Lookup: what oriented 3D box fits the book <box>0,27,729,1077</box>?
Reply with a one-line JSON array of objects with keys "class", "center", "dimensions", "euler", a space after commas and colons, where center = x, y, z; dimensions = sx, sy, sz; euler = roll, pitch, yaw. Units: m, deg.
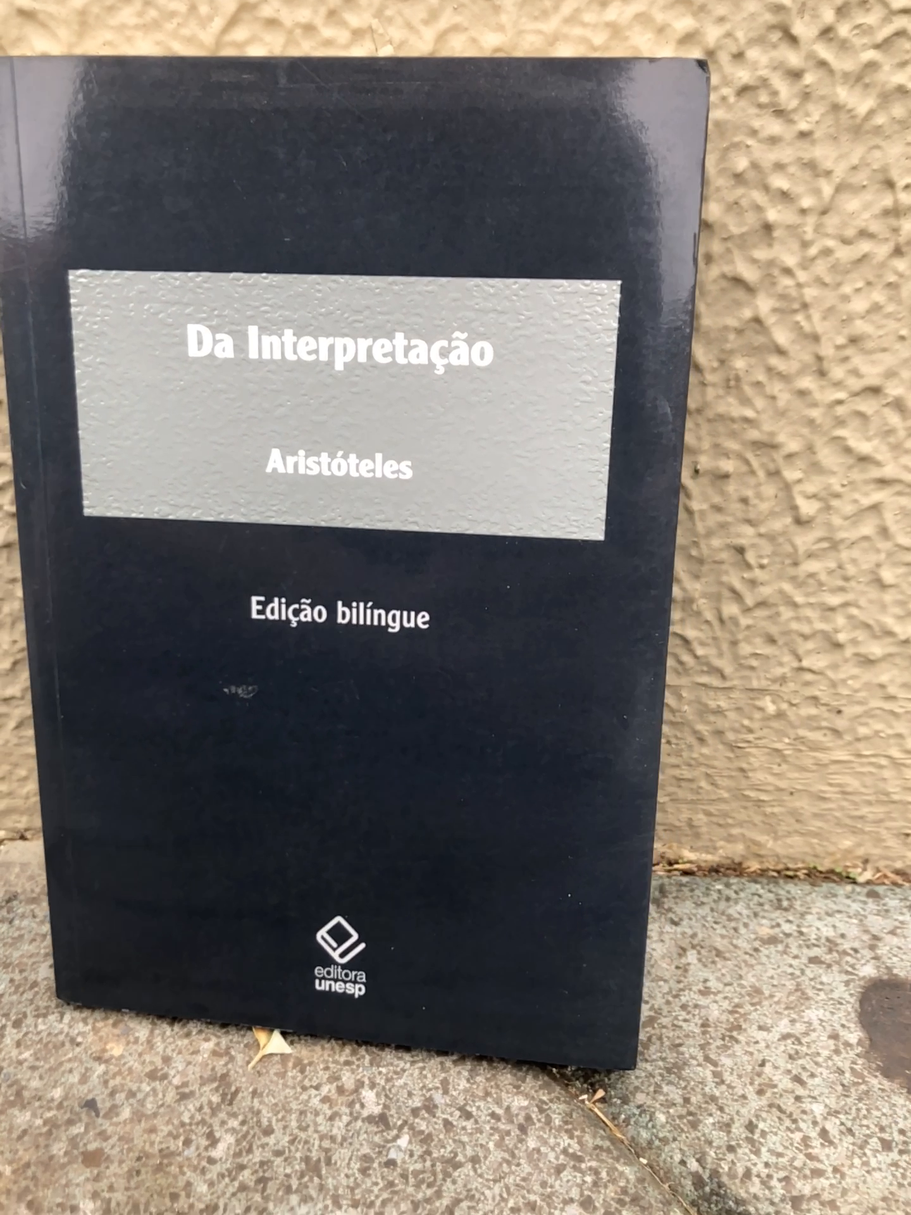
[{"class": "book", "center": [-0.022, -0.006, 0.204], "dimensions": [0.132, 0.187, 0.030], "euler": [3, 14, 9]}]
